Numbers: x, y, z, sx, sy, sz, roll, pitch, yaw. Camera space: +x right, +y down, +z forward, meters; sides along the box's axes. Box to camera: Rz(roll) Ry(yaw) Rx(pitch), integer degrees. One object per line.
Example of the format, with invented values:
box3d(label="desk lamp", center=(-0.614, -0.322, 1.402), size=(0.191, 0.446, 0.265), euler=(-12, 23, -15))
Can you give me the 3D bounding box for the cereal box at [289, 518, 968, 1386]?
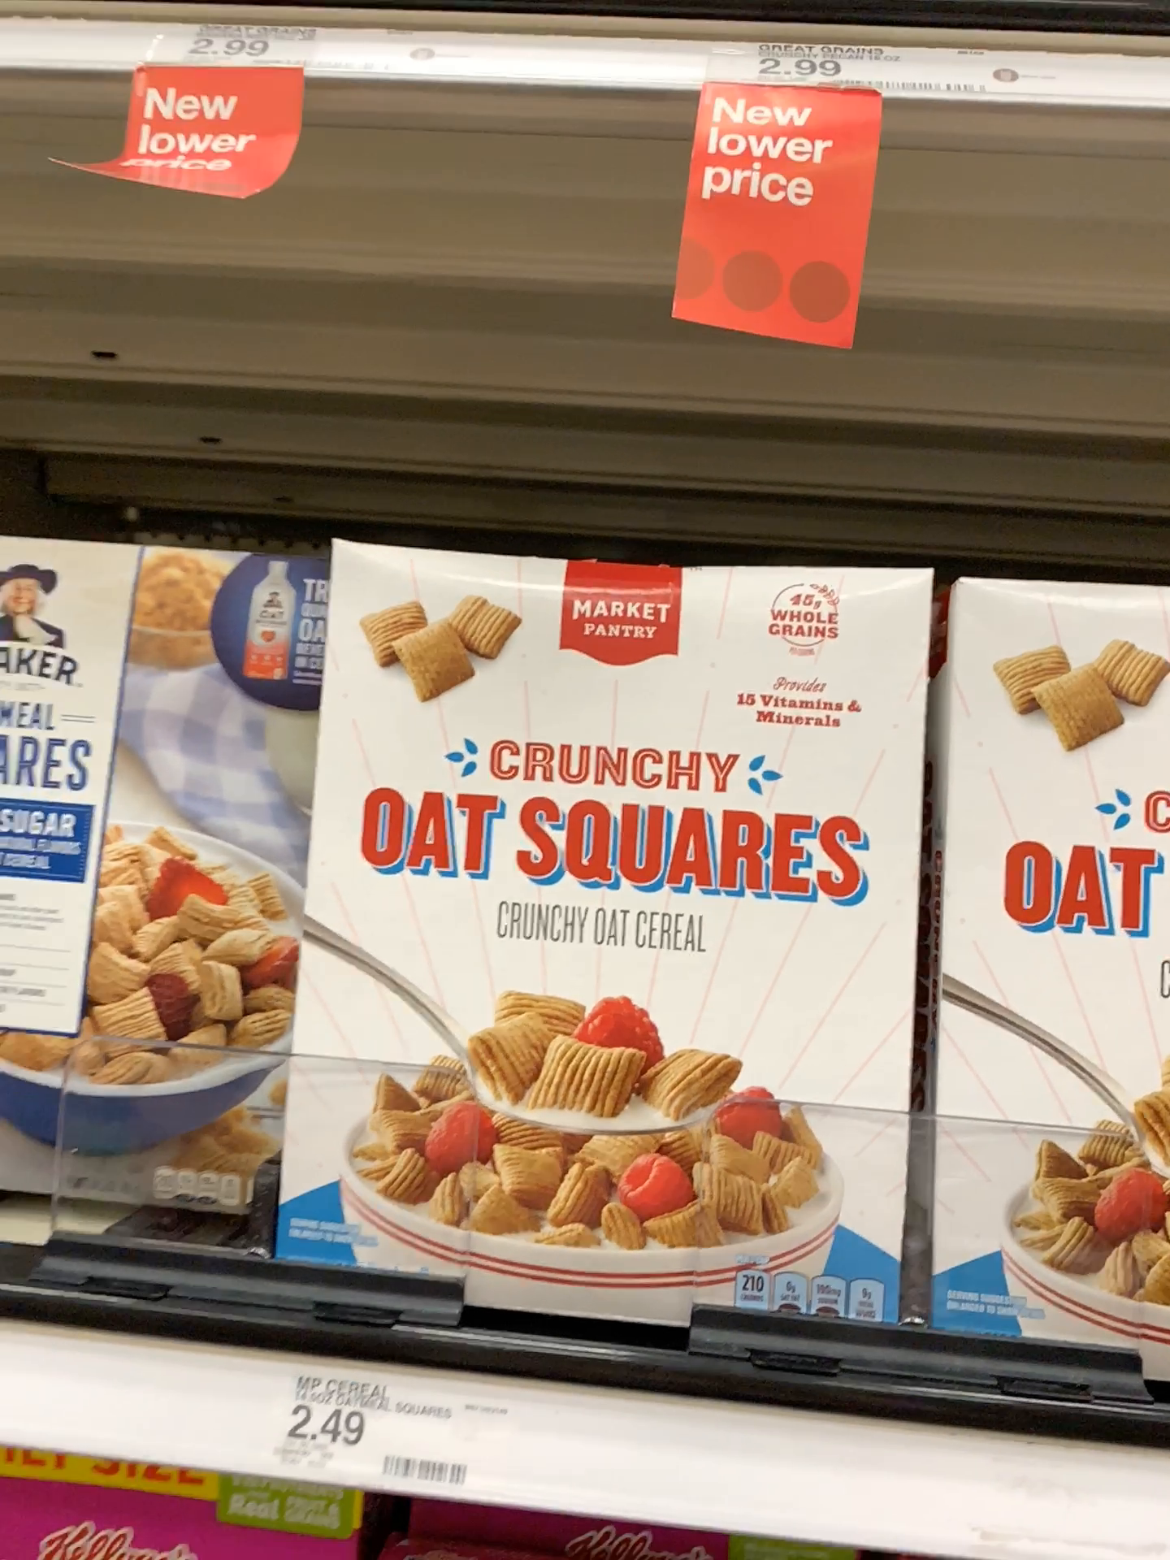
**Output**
box3d(label="cereal box", center=(0.015, 0.050, 0.402), size=(0.190, 0.250, 0.060), euler=(4, -3, 2))
